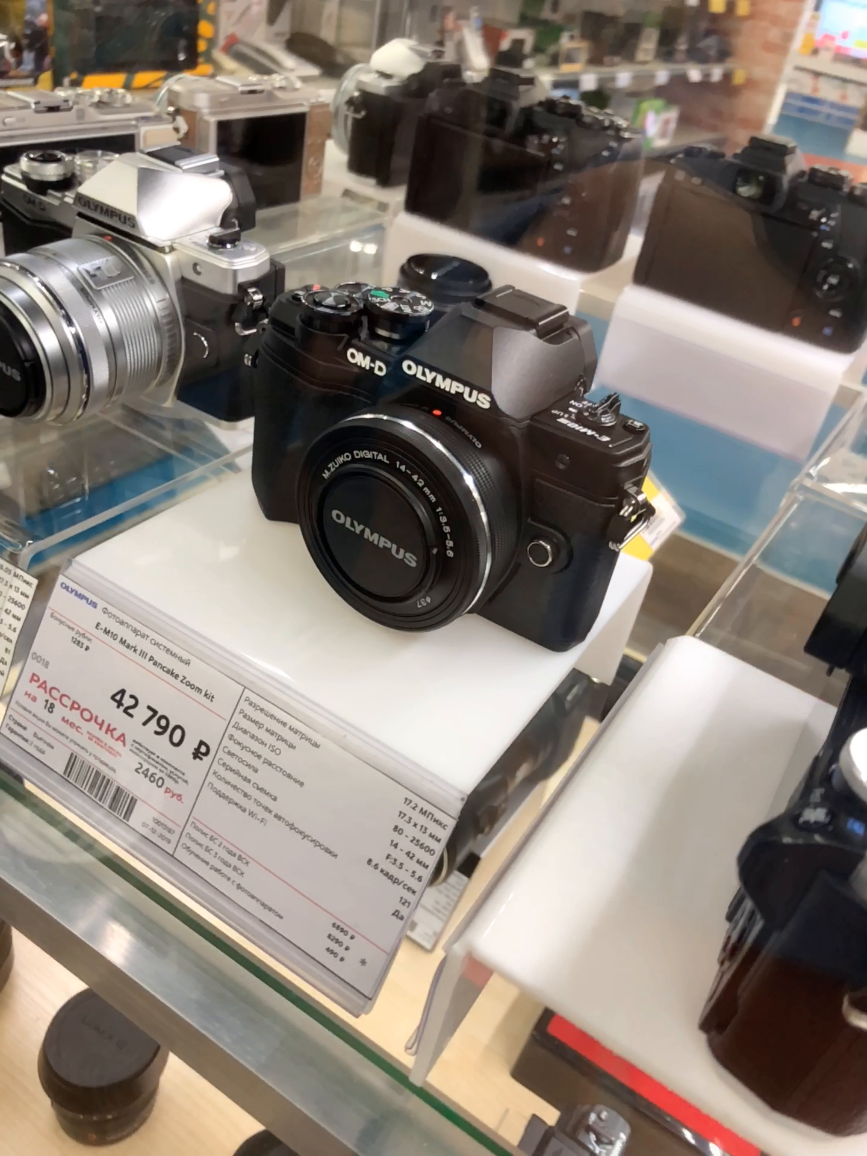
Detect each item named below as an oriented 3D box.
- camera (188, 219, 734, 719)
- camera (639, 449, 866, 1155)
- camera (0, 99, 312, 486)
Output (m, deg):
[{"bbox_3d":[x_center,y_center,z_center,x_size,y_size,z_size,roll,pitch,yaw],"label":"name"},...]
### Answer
[{"bbox_3d":[0.001,-0.038,0.274,0.129,0.082,0.064,28,37,24],"label":"camera"},{"bbox_3d":[0.115,0.045,0.186,0.094,0.074,0.124,26,36,20],"label":"camera"},{"bbox_3d":[-0.118,-0.103,0.324,0.112,0.080,0.094,28,38,24],"label":"camera"}]
